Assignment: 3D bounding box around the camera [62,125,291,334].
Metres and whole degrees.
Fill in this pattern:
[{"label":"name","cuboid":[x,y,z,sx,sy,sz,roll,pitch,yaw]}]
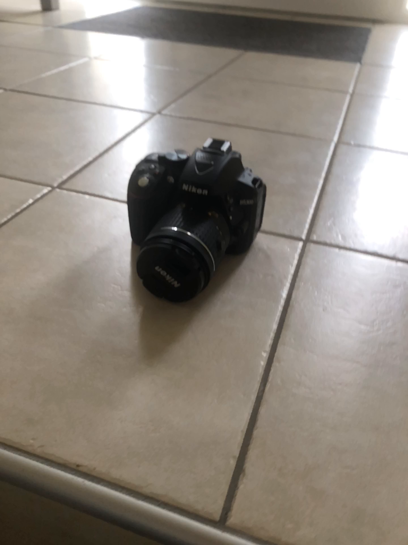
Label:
[{"label":"camera","cuboid":[-0.014,-0.050,0.407,0.140,0.089,0.161,14,41,14]}]
